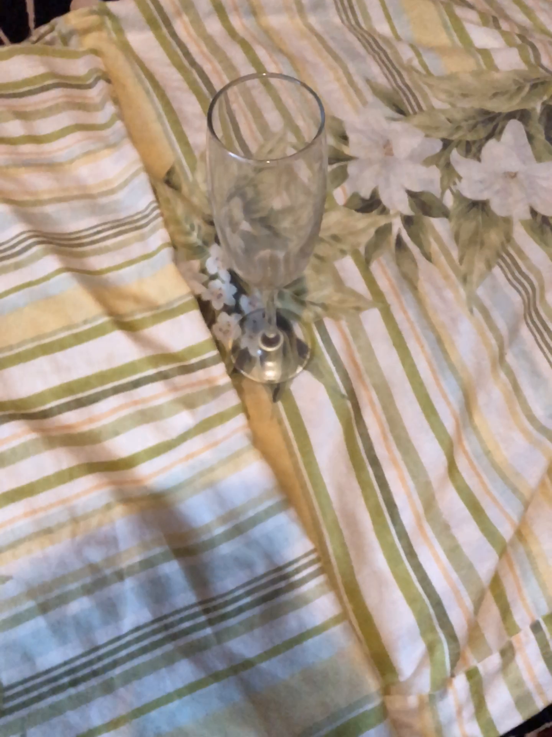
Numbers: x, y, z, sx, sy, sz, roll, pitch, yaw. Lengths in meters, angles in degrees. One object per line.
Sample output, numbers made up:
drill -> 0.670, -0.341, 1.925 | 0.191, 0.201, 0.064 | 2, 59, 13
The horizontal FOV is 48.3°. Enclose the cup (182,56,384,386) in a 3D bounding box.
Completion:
cup -> -0.003, -0.066, 0.367 | 0.082, 0.218, 0.071 | -3, 67, -4
